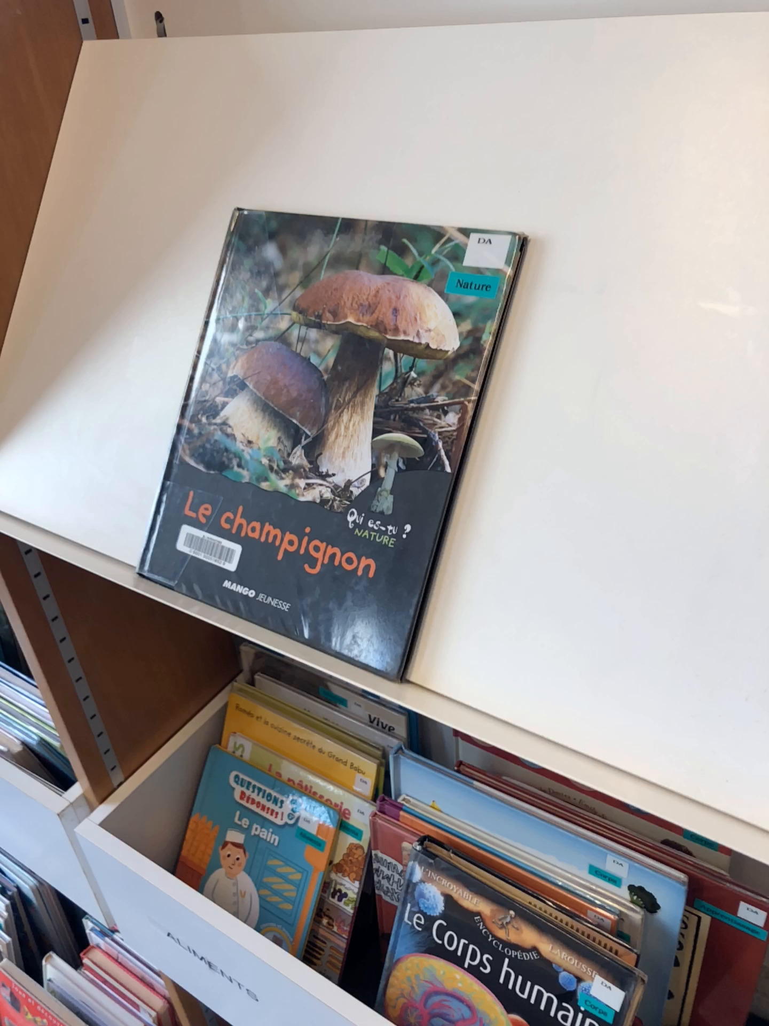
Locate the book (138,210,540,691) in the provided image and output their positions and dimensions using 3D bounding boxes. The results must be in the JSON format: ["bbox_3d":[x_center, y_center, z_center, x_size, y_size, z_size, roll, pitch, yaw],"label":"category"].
[{"bbox_3d":[-0.038,-0.049,0.496,0.202,0.242,0.020,17,2,31],"label":"book"}]
